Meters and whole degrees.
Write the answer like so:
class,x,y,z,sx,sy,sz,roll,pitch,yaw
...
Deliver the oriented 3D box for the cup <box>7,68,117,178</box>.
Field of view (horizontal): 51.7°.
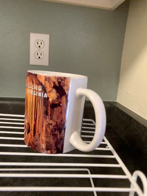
class,x,y,z,sx,sy,sz,roll,pitch,yaw
cup,-0.024,0.012,0.197,0.080,0.090,0.120,-6,16,-41
